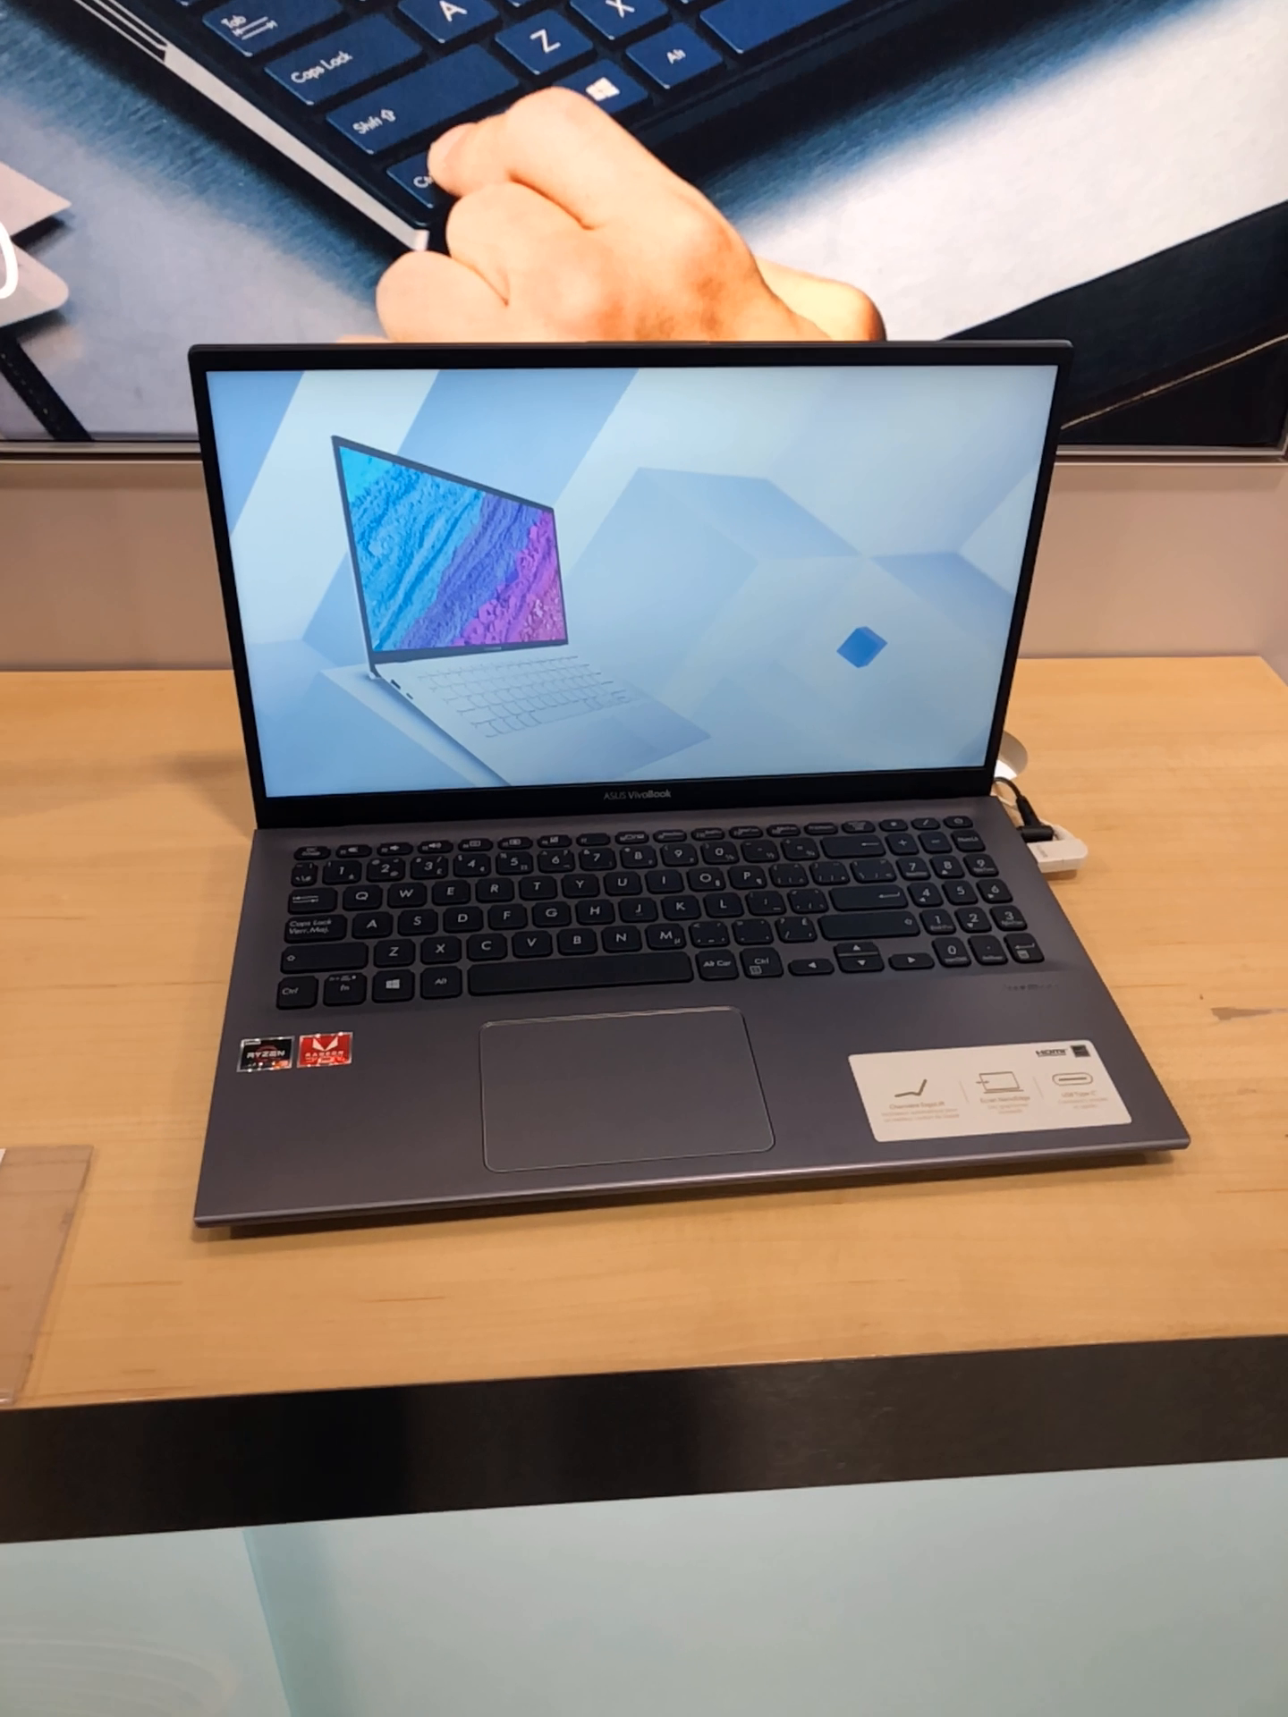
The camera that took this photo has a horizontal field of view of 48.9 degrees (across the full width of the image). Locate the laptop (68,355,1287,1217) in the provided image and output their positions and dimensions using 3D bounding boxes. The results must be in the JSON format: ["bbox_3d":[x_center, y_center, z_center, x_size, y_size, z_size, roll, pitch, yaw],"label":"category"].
[{"bbox_3d":[0.014,-0.043,0.525,0.349,0.211,0.243,-2,37,-6],"label":"laptop"}]
